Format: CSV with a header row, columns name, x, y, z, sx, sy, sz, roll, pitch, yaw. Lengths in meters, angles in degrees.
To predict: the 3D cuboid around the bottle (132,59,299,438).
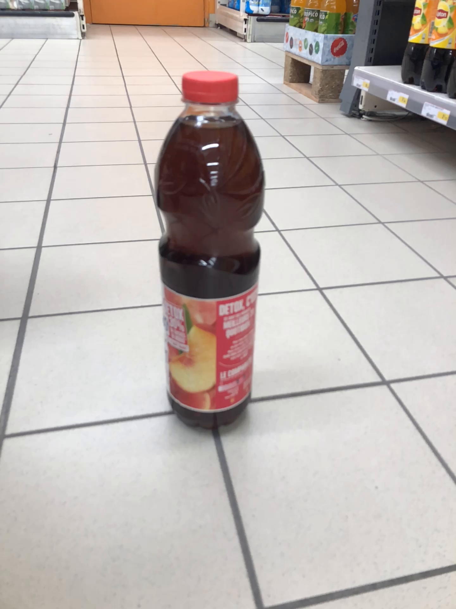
name,x,y,z,sx,sy,sz,roll,pitch,yaw
bottle,-0.017,-0.035,0.404,0.090,0.288,0.090,2,32,-1
